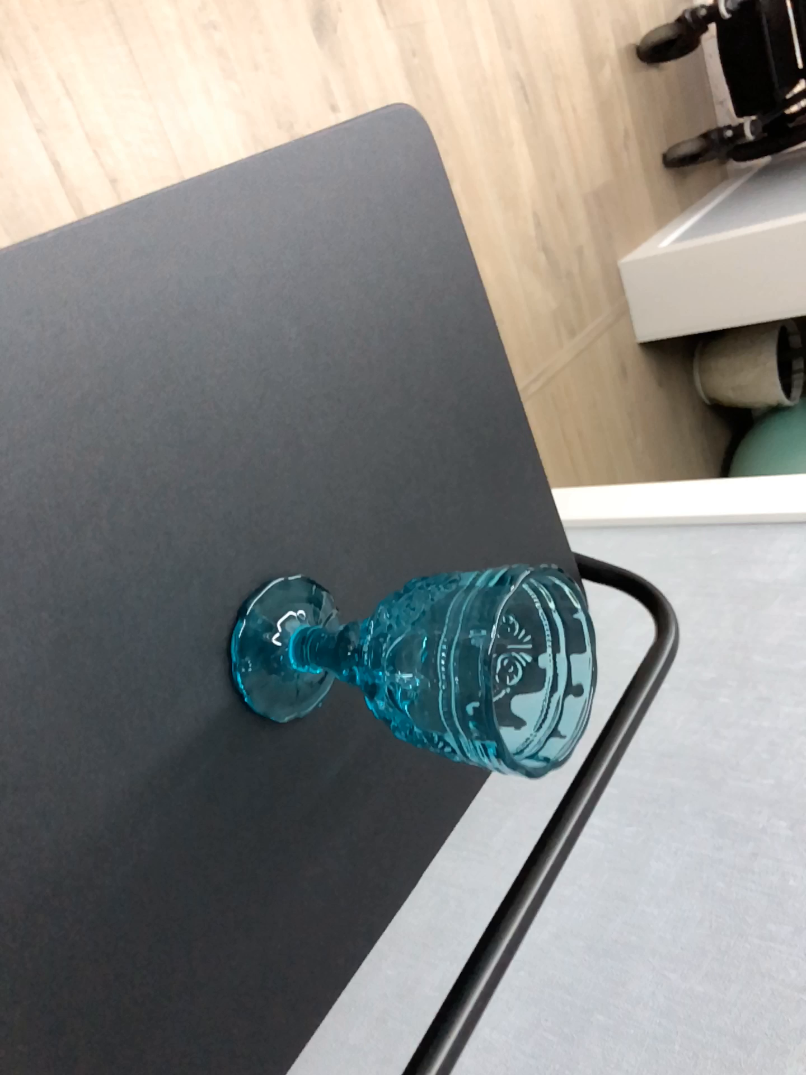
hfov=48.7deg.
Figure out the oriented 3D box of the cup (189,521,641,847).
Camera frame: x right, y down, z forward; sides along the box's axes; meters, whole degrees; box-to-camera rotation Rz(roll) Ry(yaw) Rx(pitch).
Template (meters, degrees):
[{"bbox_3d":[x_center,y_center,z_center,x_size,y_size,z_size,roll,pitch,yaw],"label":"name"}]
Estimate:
[{"bbox_3d":[0.004,0.057,0.404,0.085,0.164,0.095,-43,121,-42],"label":"cup"}]
